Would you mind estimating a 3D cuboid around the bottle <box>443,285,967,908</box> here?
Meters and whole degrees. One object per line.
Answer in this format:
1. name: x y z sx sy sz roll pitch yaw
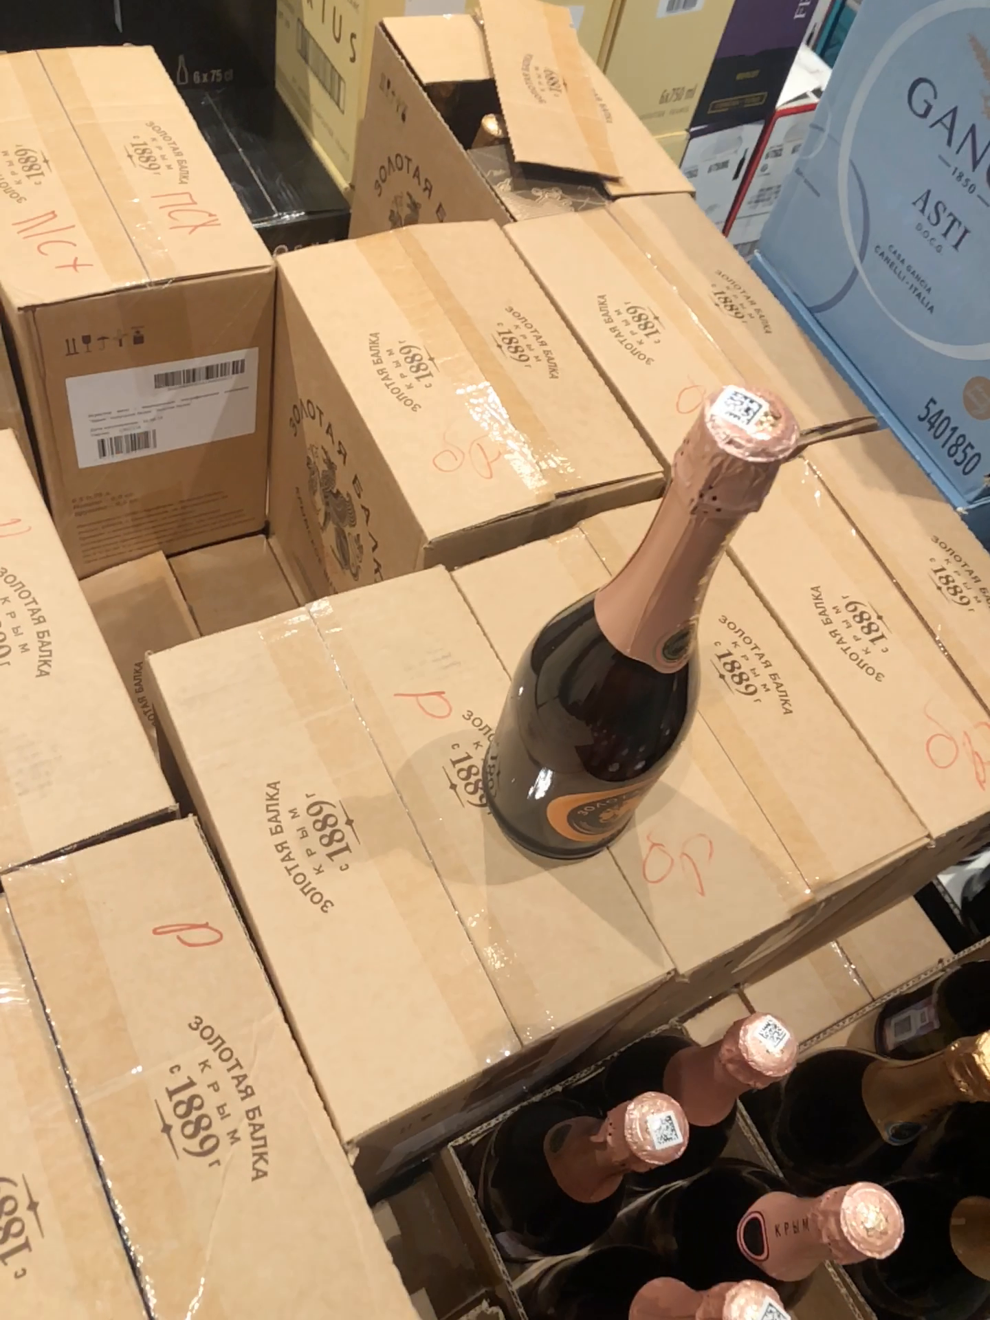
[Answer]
1. bottle: 0.063 -0.002 0.484 0.100 0.308 0.090 -23 66 -24
